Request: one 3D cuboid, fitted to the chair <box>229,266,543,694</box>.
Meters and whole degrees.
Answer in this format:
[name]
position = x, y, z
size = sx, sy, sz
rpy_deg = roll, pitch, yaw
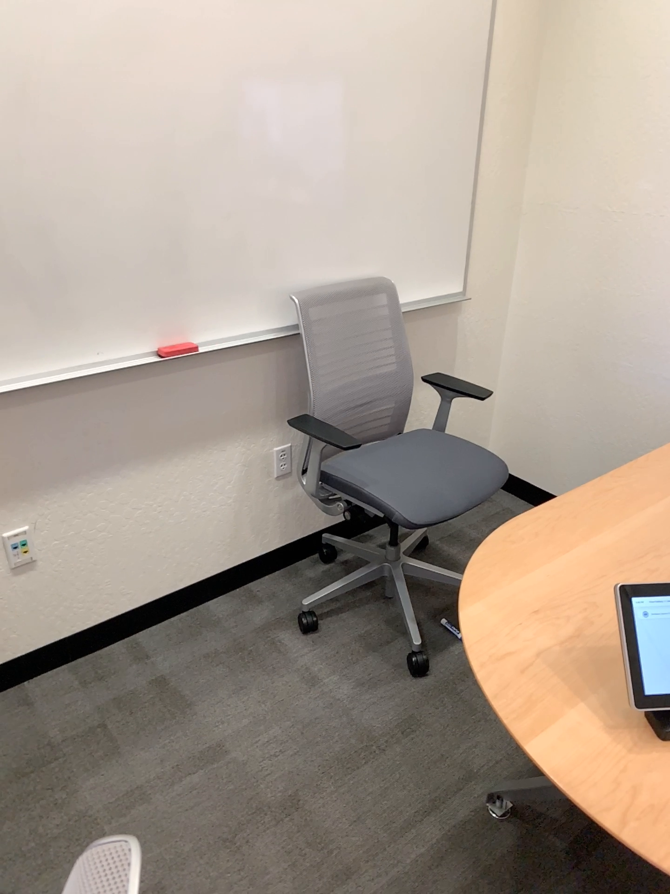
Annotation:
[chair]
position = 0.154, 0.045, 2.570
size = 0.761, 1.264, 0.753
rpy_deg = -19, 30, -39
